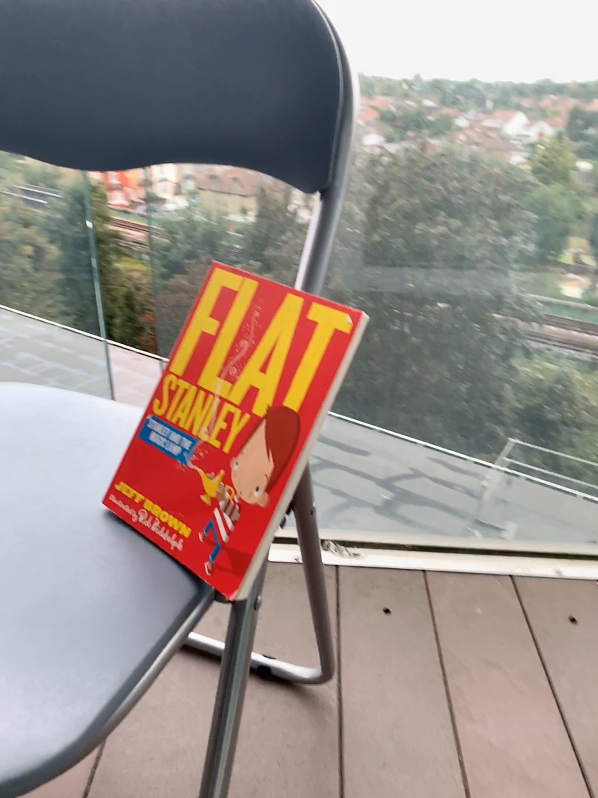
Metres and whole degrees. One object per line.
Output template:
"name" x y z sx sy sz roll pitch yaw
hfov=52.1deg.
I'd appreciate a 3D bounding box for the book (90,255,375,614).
"book" -0.051 0.012 0.392 0.141 0.190 0.020 24 0 37
